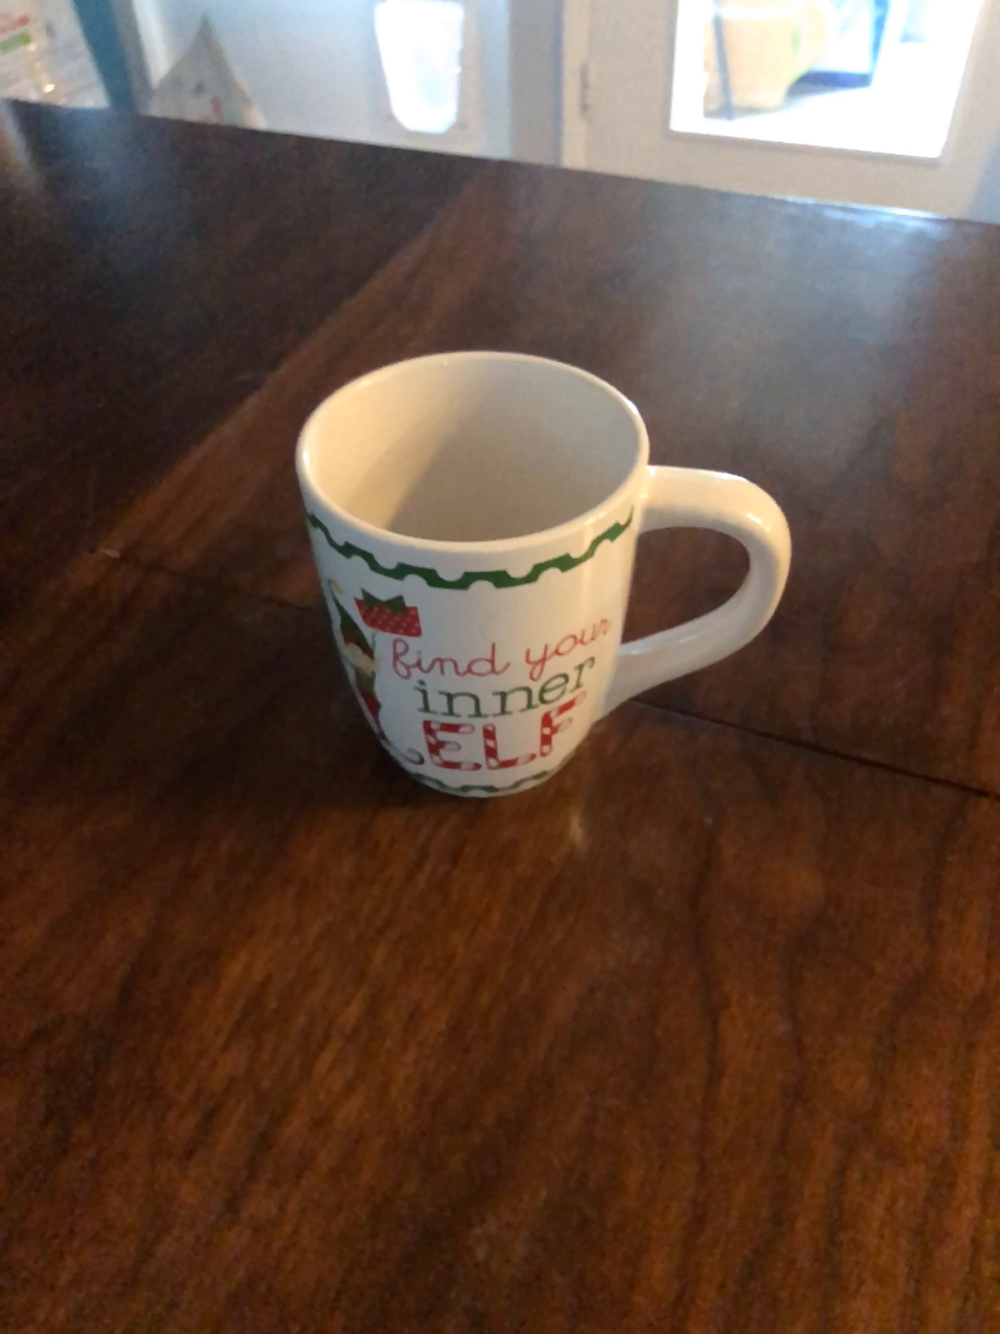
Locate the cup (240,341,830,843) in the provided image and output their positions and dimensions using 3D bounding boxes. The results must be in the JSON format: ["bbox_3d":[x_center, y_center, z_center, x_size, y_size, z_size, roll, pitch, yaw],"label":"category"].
[{"bbox_3d":[0.015,-0.027,0.383,0.160,0.120,0.110,4,45,6],"label":"cup"}]
